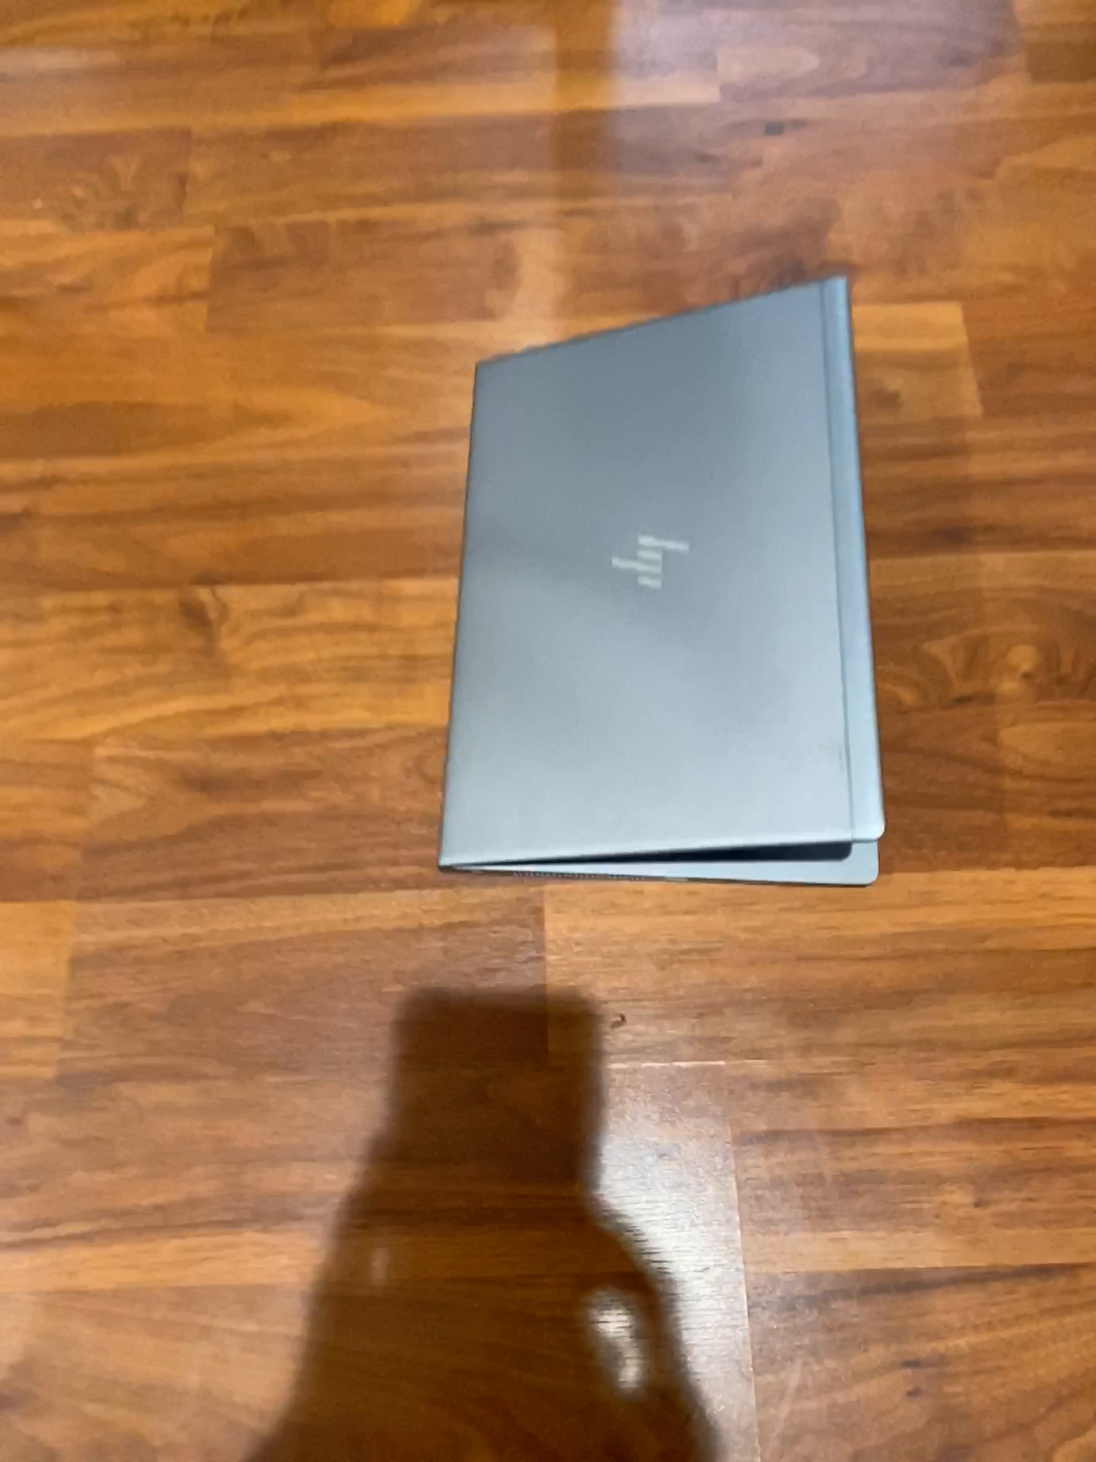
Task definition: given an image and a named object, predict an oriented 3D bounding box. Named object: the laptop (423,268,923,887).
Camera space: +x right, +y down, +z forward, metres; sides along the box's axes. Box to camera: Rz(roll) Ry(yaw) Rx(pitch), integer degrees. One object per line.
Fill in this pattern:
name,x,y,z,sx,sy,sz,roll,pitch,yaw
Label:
laptop,0.064,-0.089,0.607,0.230,0.078,0.325,2,70,1
